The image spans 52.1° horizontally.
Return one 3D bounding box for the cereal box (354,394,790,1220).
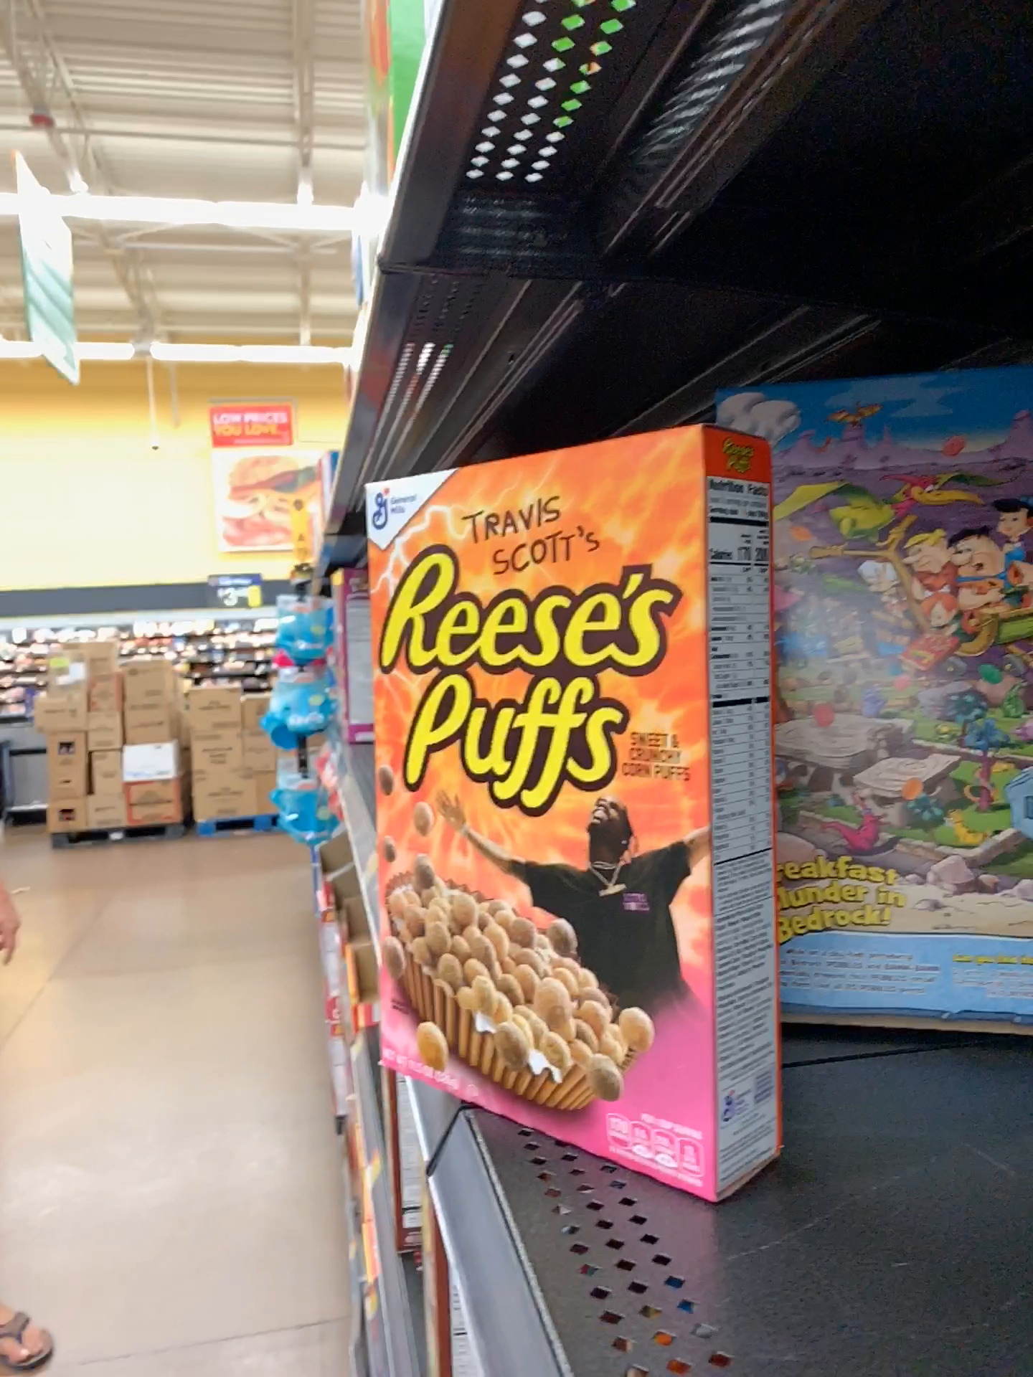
[{"bbox_3d":[0.014,0.041,0.459,0.050,0.290,0.200,-2,2,-45],"label":"cereal box"}]
